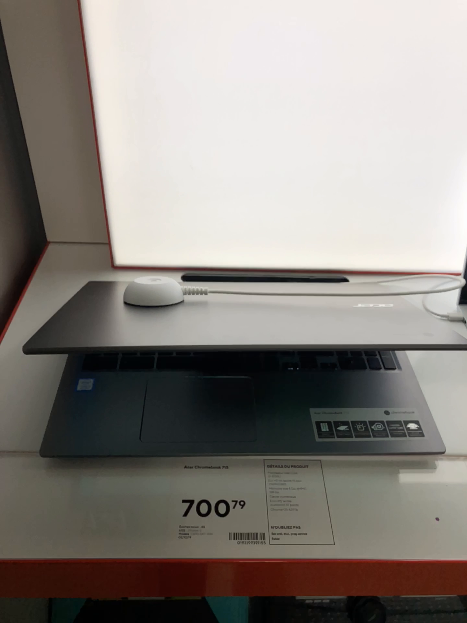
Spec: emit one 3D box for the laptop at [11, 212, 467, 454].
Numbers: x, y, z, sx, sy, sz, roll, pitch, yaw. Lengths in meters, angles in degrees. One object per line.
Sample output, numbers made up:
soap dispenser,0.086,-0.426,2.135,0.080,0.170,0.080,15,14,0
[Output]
laptop,0.010,0.009,0.509,0.356,0.105,0.237,1,38,-3
